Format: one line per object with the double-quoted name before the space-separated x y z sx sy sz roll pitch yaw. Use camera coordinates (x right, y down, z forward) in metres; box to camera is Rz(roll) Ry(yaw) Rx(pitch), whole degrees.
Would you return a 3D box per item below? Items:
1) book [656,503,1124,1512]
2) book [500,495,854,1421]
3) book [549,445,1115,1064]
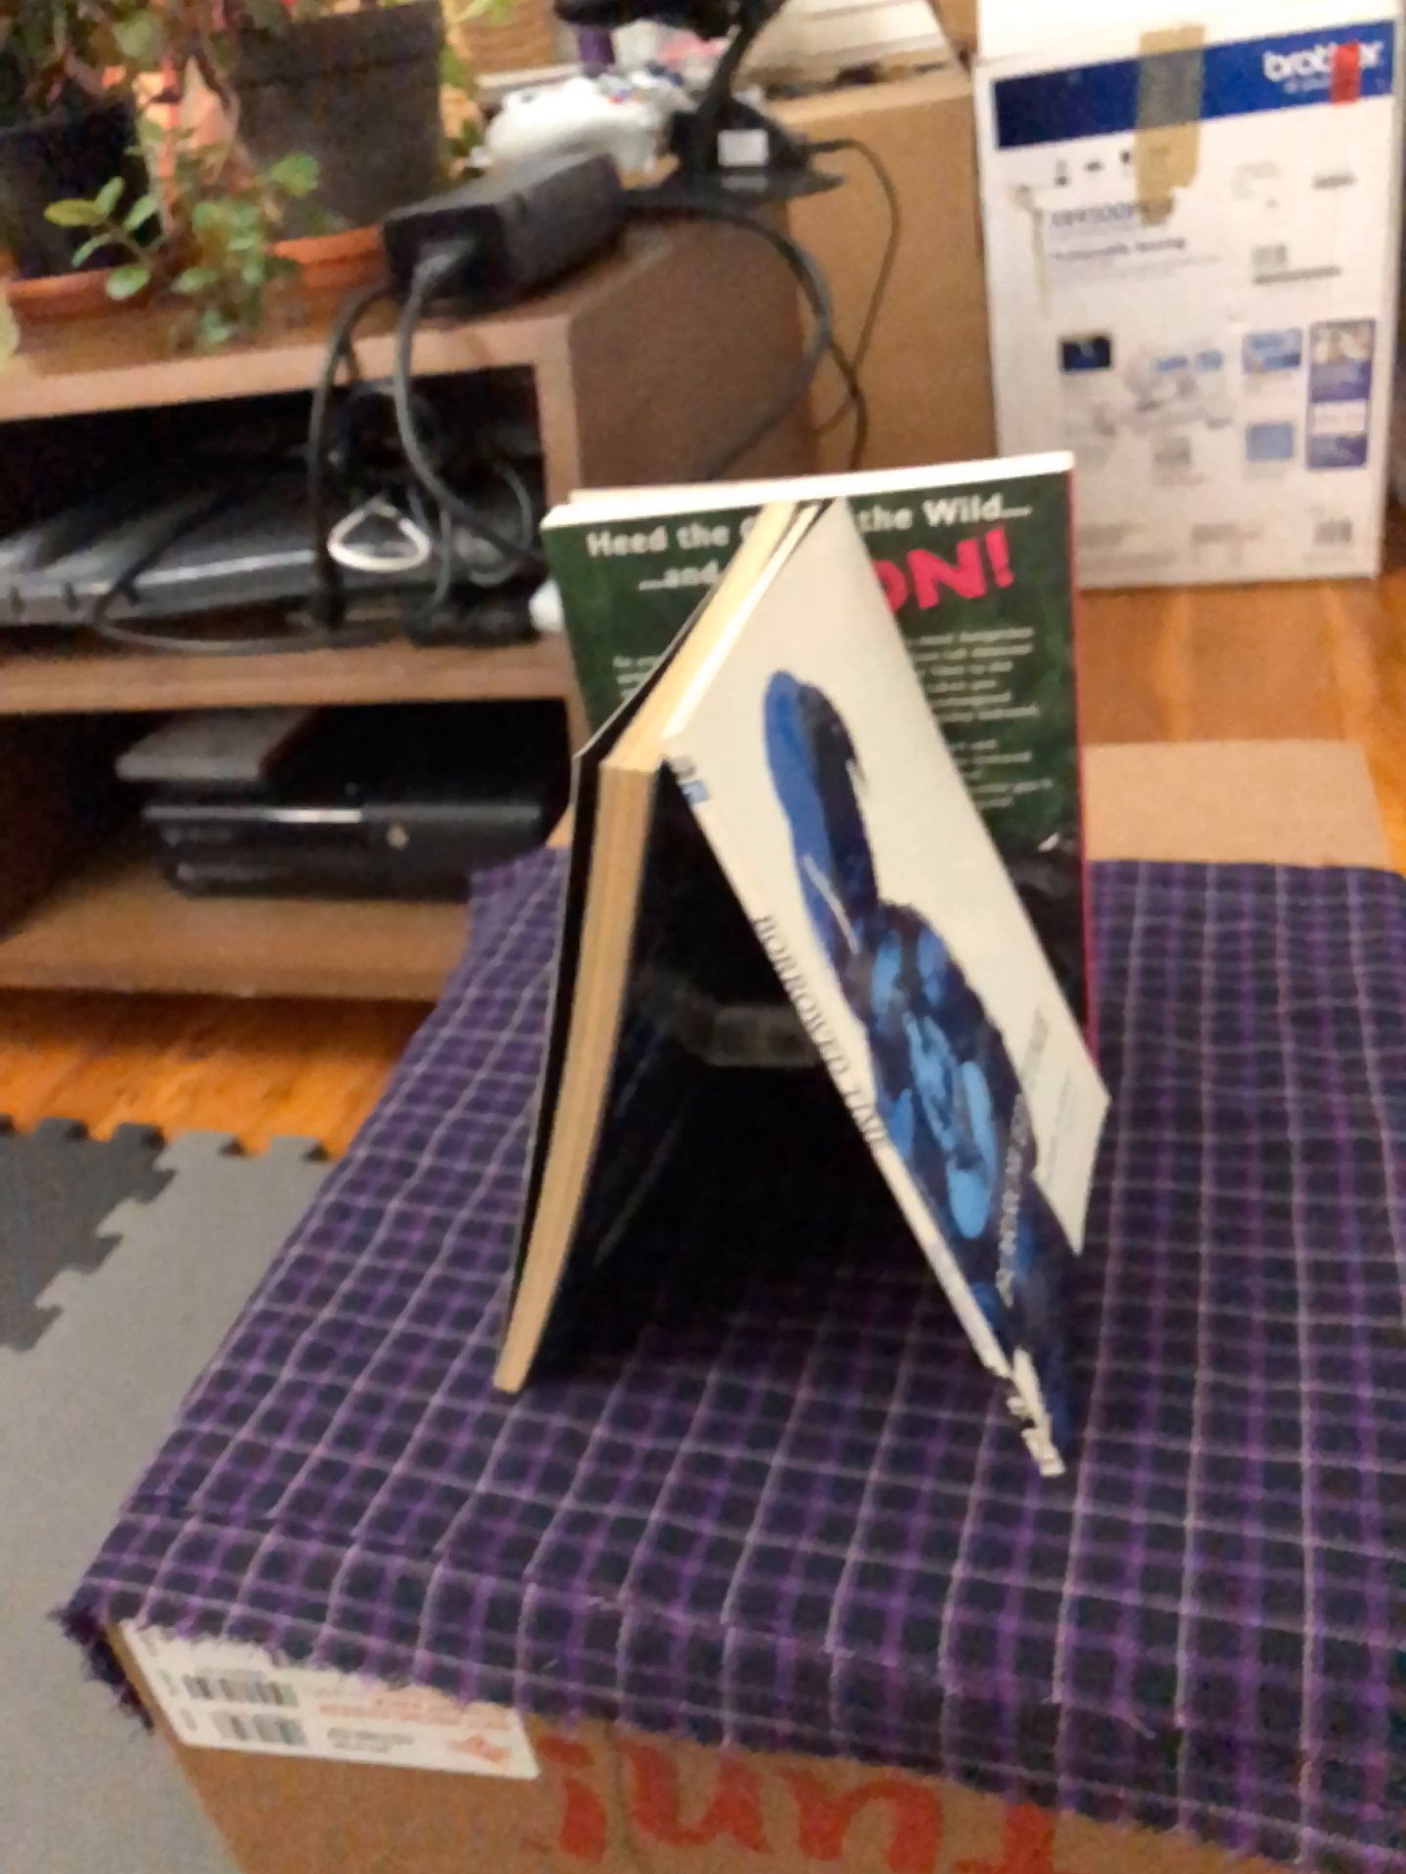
"book" 0.058 0.011 0.373 0.010 0.199 0.141 -17 24 26
"book" -0.007 0.006 0.405 0.010 0.199 0.151 19 38 8
"book" 0.045 -0.041 0.455 0.140 0.189 0.020 0 38 16
